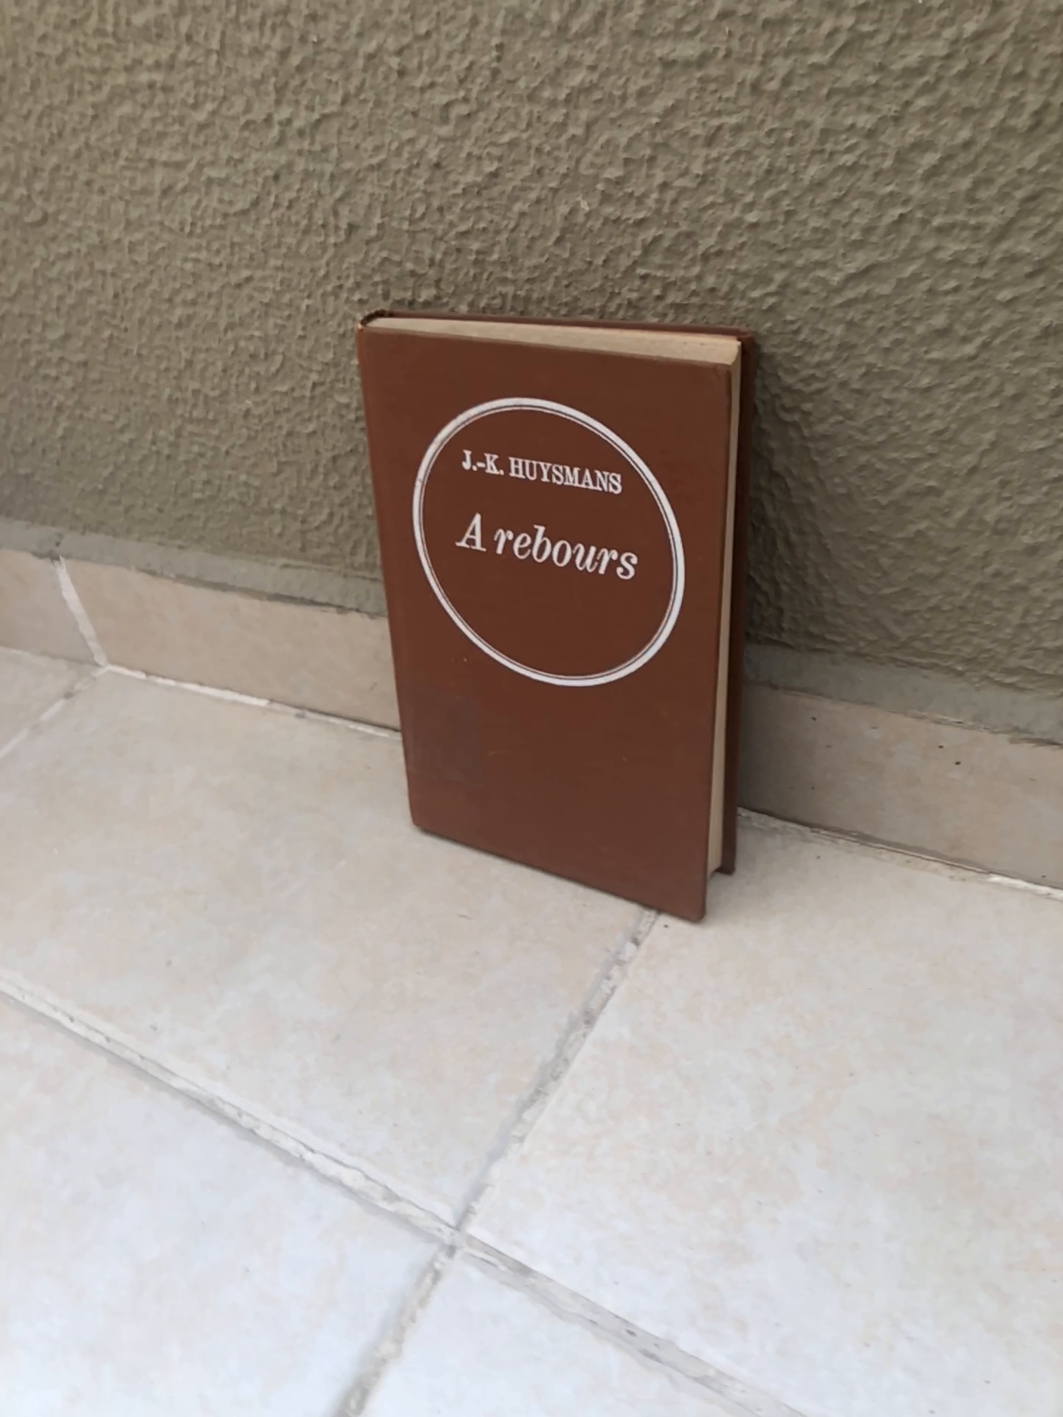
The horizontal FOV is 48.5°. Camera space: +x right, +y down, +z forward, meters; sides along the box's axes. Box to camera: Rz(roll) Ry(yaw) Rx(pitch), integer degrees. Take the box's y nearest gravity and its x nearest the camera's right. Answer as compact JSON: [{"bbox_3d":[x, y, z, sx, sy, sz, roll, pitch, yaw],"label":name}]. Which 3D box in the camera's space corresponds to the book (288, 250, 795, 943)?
[{"bbox_3d":[0.004,-0.038,0.396,0.150,0.209,0.040,14,33,29],"label":"book"}]
